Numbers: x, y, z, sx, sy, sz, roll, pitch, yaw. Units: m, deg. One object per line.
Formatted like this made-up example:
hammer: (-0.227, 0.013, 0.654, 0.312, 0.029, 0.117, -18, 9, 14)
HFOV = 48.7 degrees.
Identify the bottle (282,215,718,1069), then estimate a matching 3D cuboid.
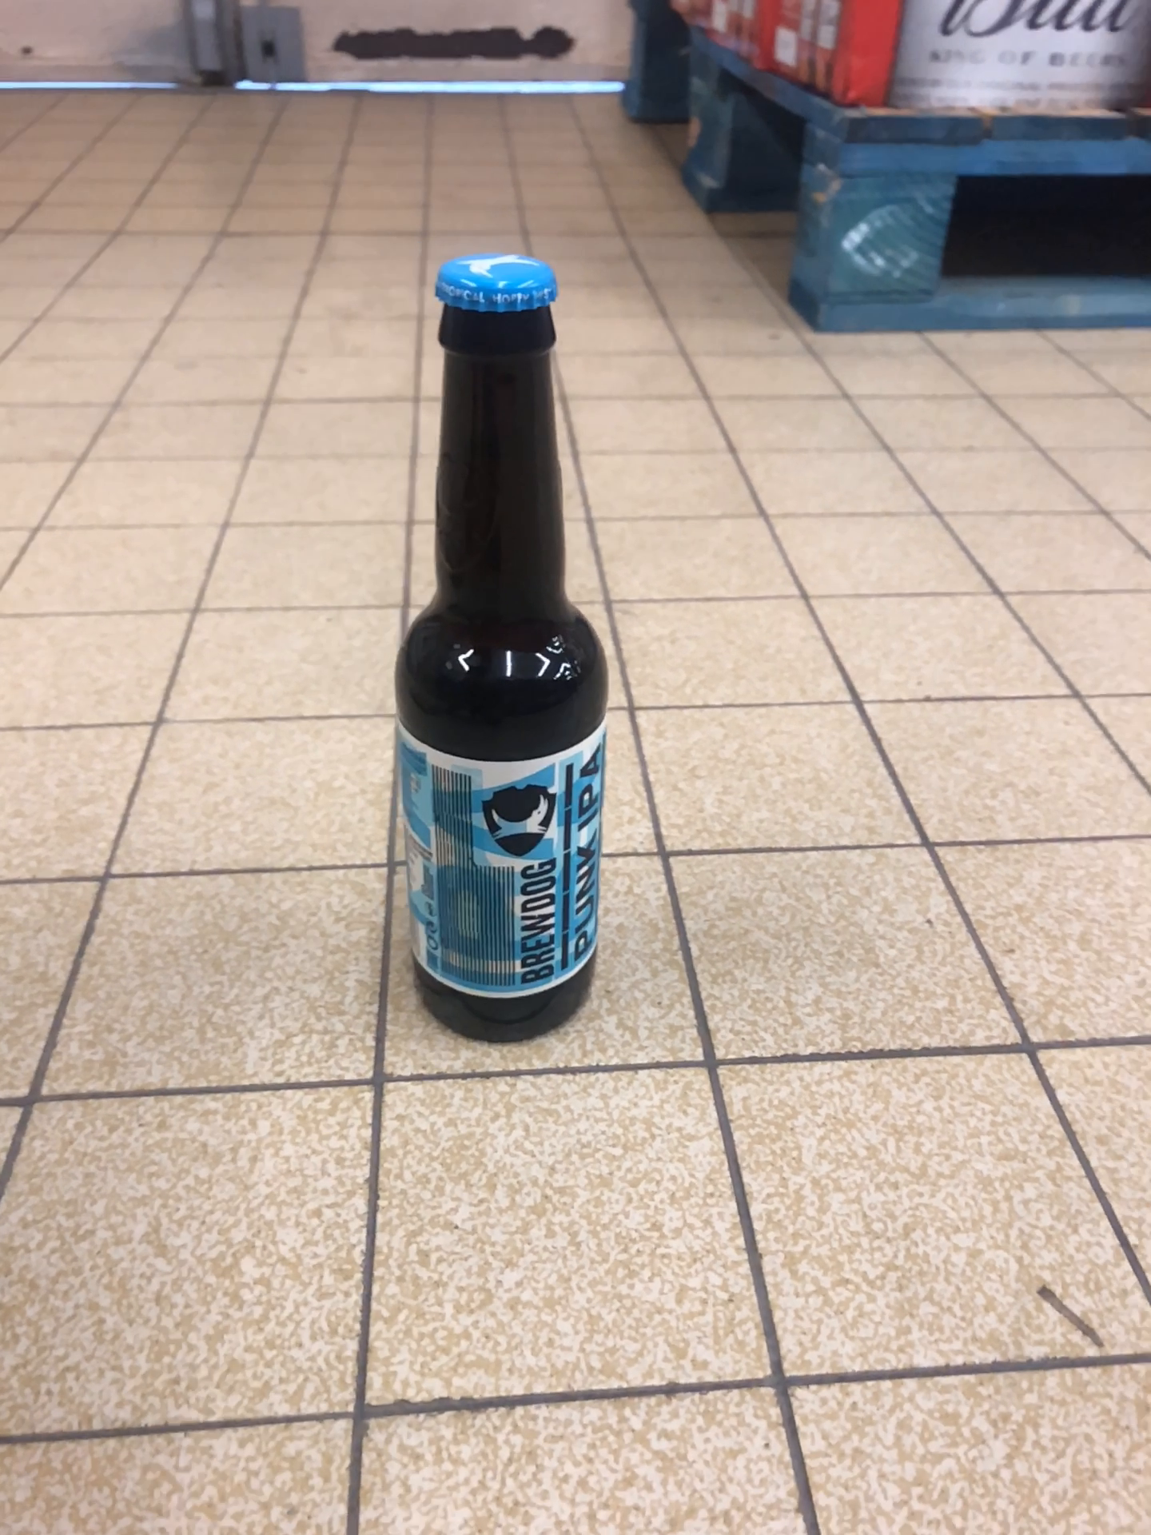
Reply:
bottle: (-0.019, -0.028, 0.347, 0.070, 0.209, 0.070, 1, 34, -1)
